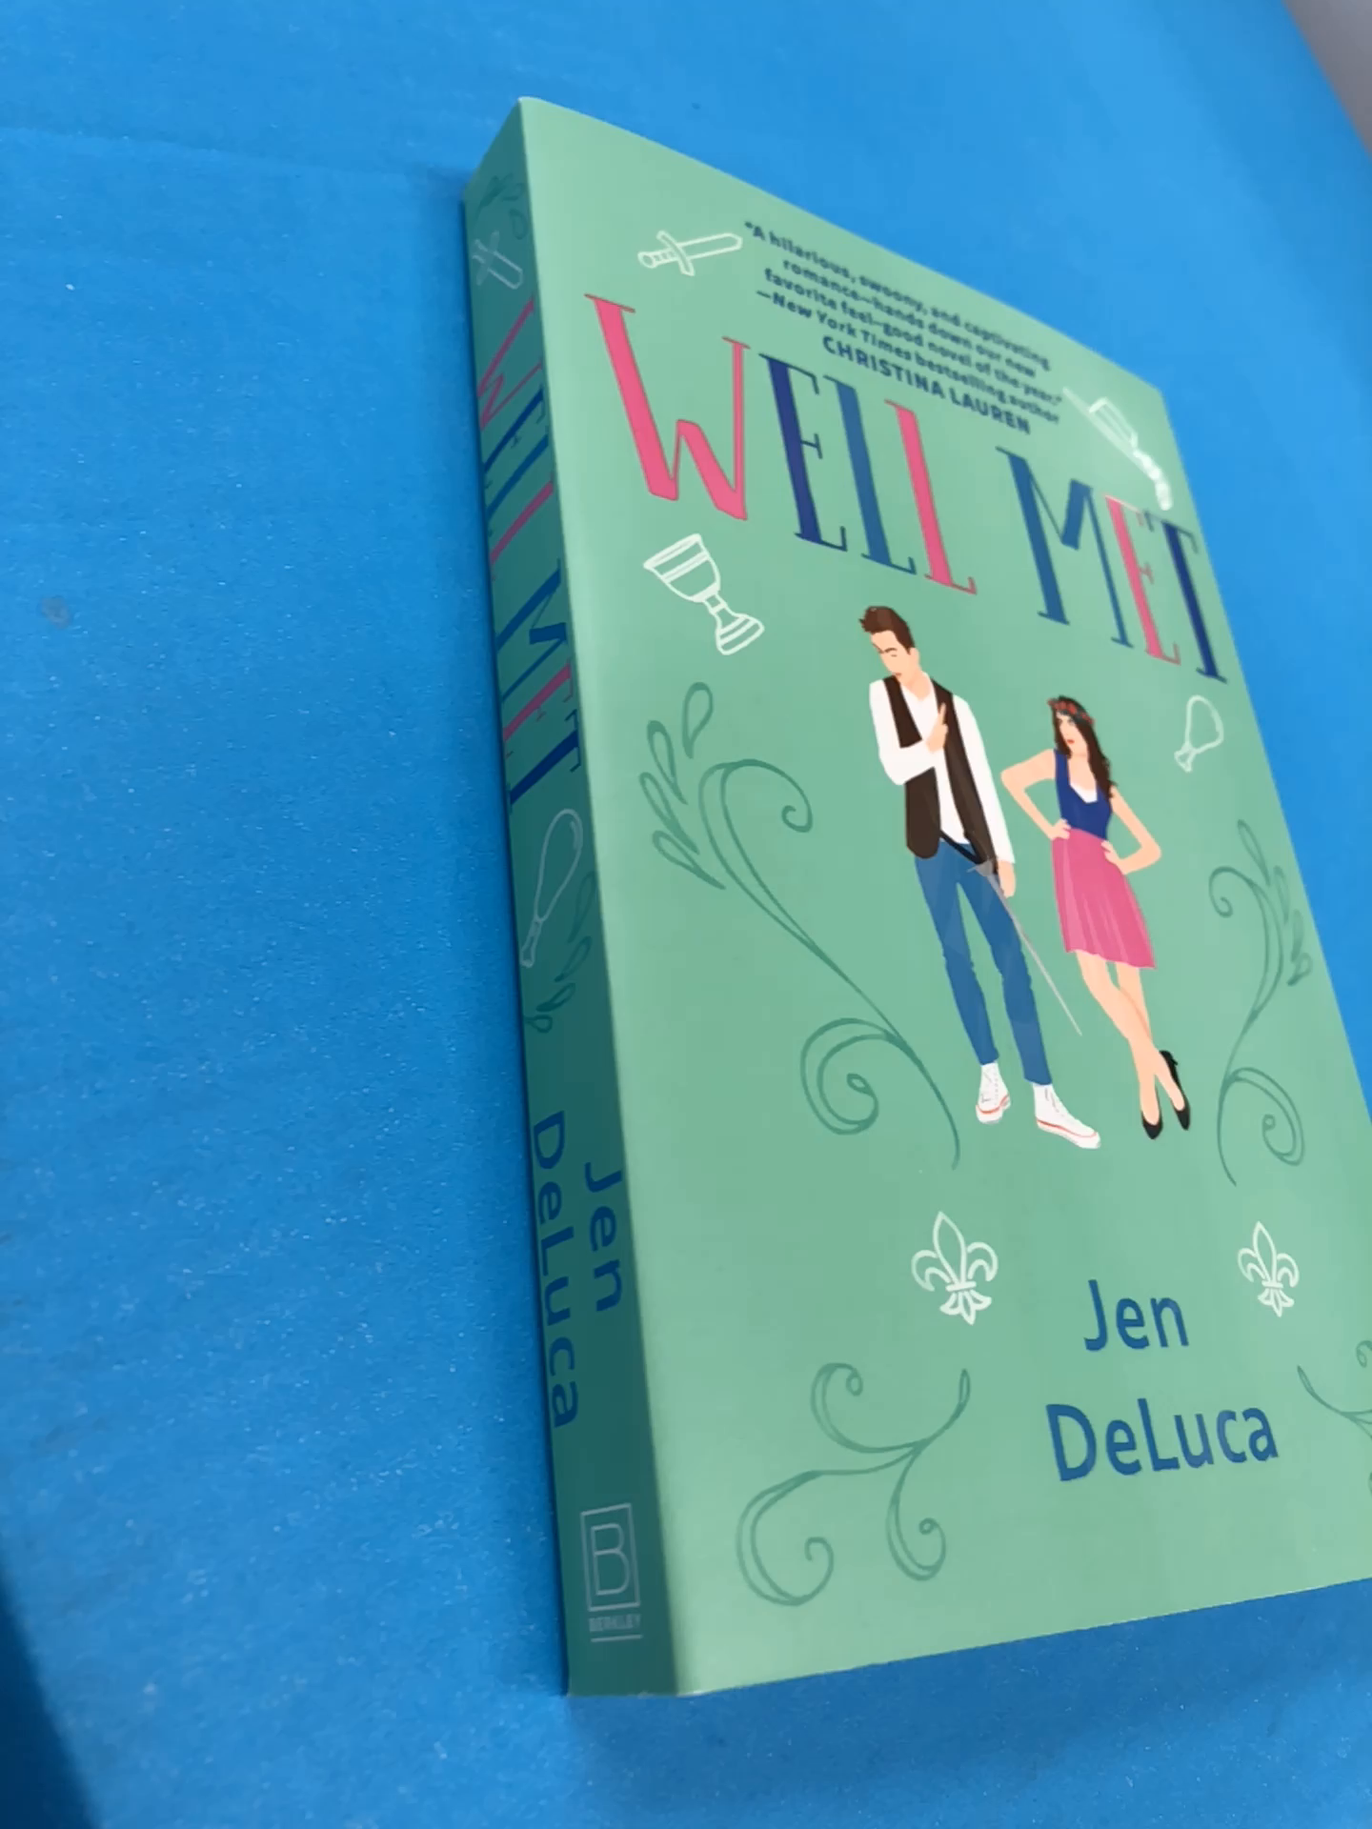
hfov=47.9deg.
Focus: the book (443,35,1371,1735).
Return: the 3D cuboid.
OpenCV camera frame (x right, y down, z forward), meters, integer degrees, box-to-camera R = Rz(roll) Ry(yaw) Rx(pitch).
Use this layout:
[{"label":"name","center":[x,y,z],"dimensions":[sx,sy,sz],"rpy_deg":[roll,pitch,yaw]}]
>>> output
[{"label":"book","center":[0.042,-0.011,0.229],"dimensions":[0.146,0.030,0.216],"rpy_deg":[10,62,-34]}]
